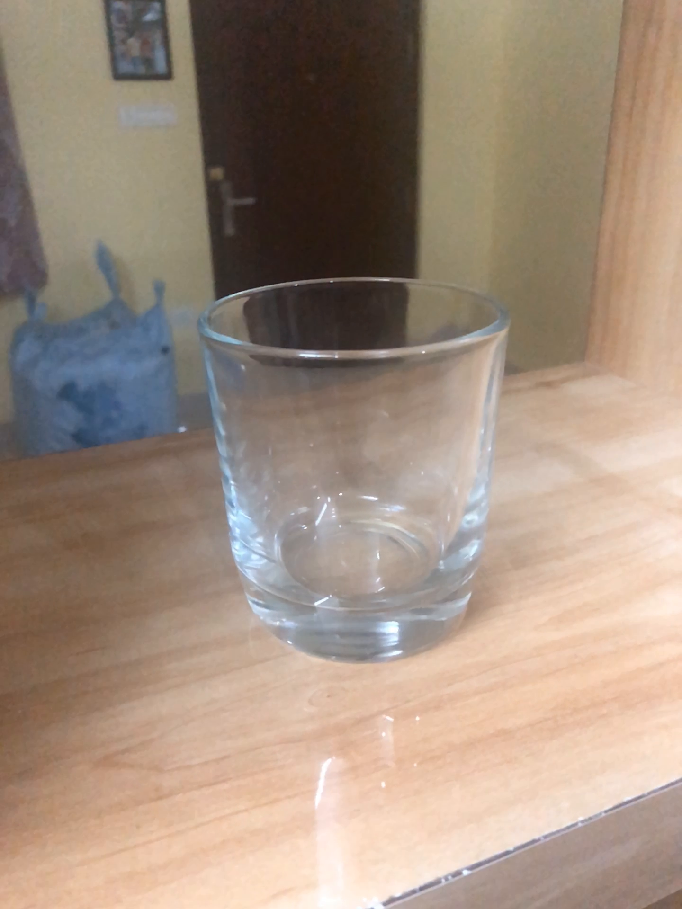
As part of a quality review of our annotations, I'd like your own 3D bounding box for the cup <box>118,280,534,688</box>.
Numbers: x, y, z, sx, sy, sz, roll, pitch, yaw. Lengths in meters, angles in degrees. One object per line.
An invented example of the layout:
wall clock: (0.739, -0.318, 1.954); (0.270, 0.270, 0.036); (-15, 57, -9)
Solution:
cup: (-0.001, 0.004, 0.220); (0.090, 0.090, 0.080); (0, 24, 3)
